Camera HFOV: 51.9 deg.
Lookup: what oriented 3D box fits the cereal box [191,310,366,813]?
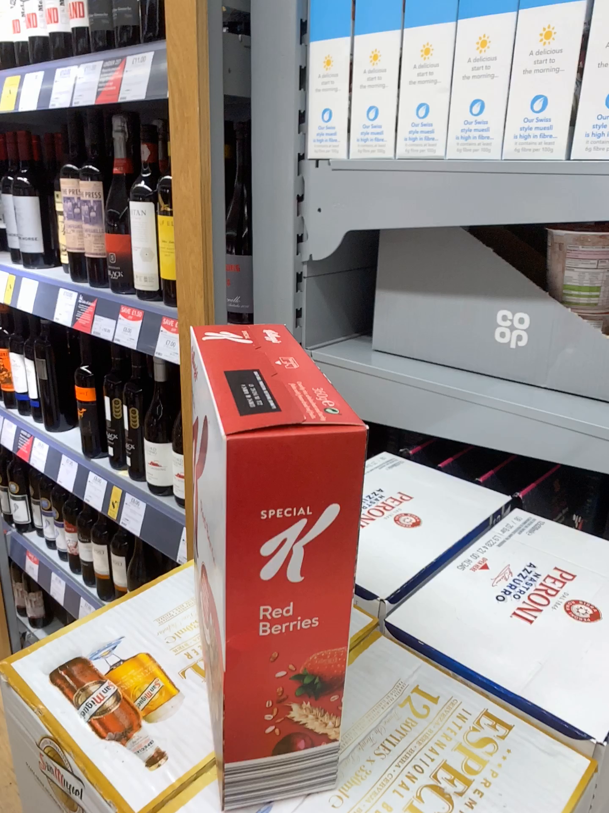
[{"bbox_3d":[-0.033,0.078,0.404,0.070,0.238,0.202,-1,20,-12],"label":"cereal box"}]
